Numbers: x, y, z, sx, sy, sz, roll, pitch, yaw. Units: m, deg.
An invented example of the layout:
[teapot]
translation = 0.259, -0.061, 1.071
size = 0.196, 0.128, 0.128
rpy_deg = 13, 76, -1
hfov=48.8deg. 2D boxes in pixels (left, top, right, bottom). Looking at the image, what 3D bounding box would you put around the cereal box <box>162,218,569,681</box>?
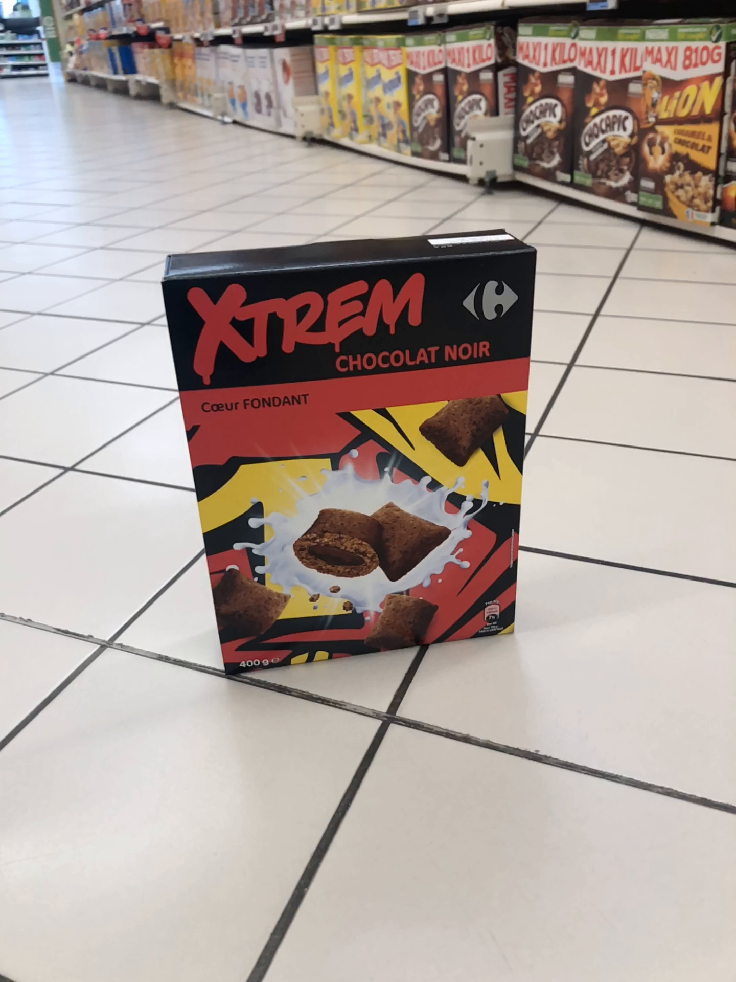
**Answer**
[cereal box]
translation = 0.002, -0.020, 0.483
size = 0.200, 0.249, 0.070
rpy_deg = -6, 28, -7
